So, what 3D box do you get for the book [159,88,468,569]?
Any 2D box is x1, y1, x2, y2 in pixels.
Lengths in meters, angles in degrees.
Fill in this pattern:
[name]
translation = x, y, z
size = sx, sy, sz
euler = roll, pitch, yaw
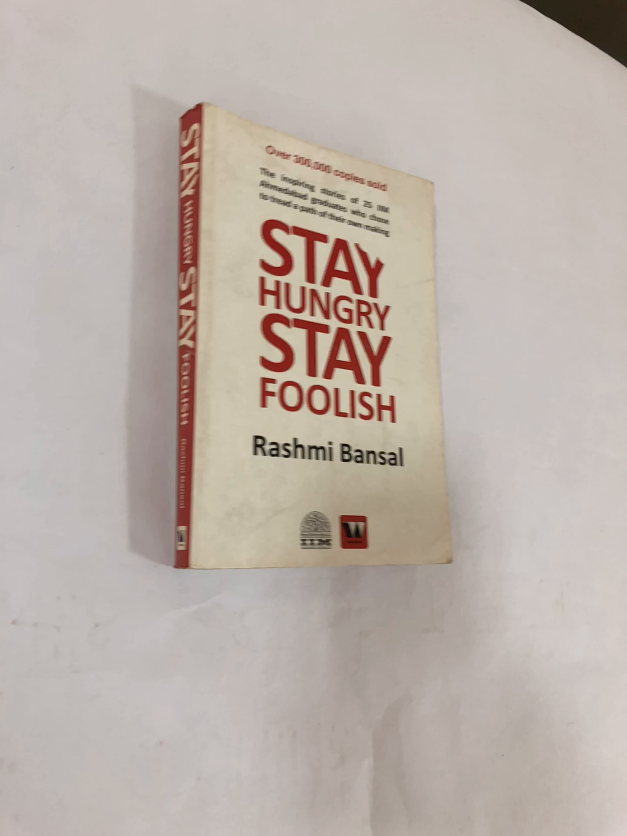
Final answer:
[book]
translation = 0.002, -0.031, 0.316
size = 0.131, 0.040, 0.190
euler = 6, 76, -32
